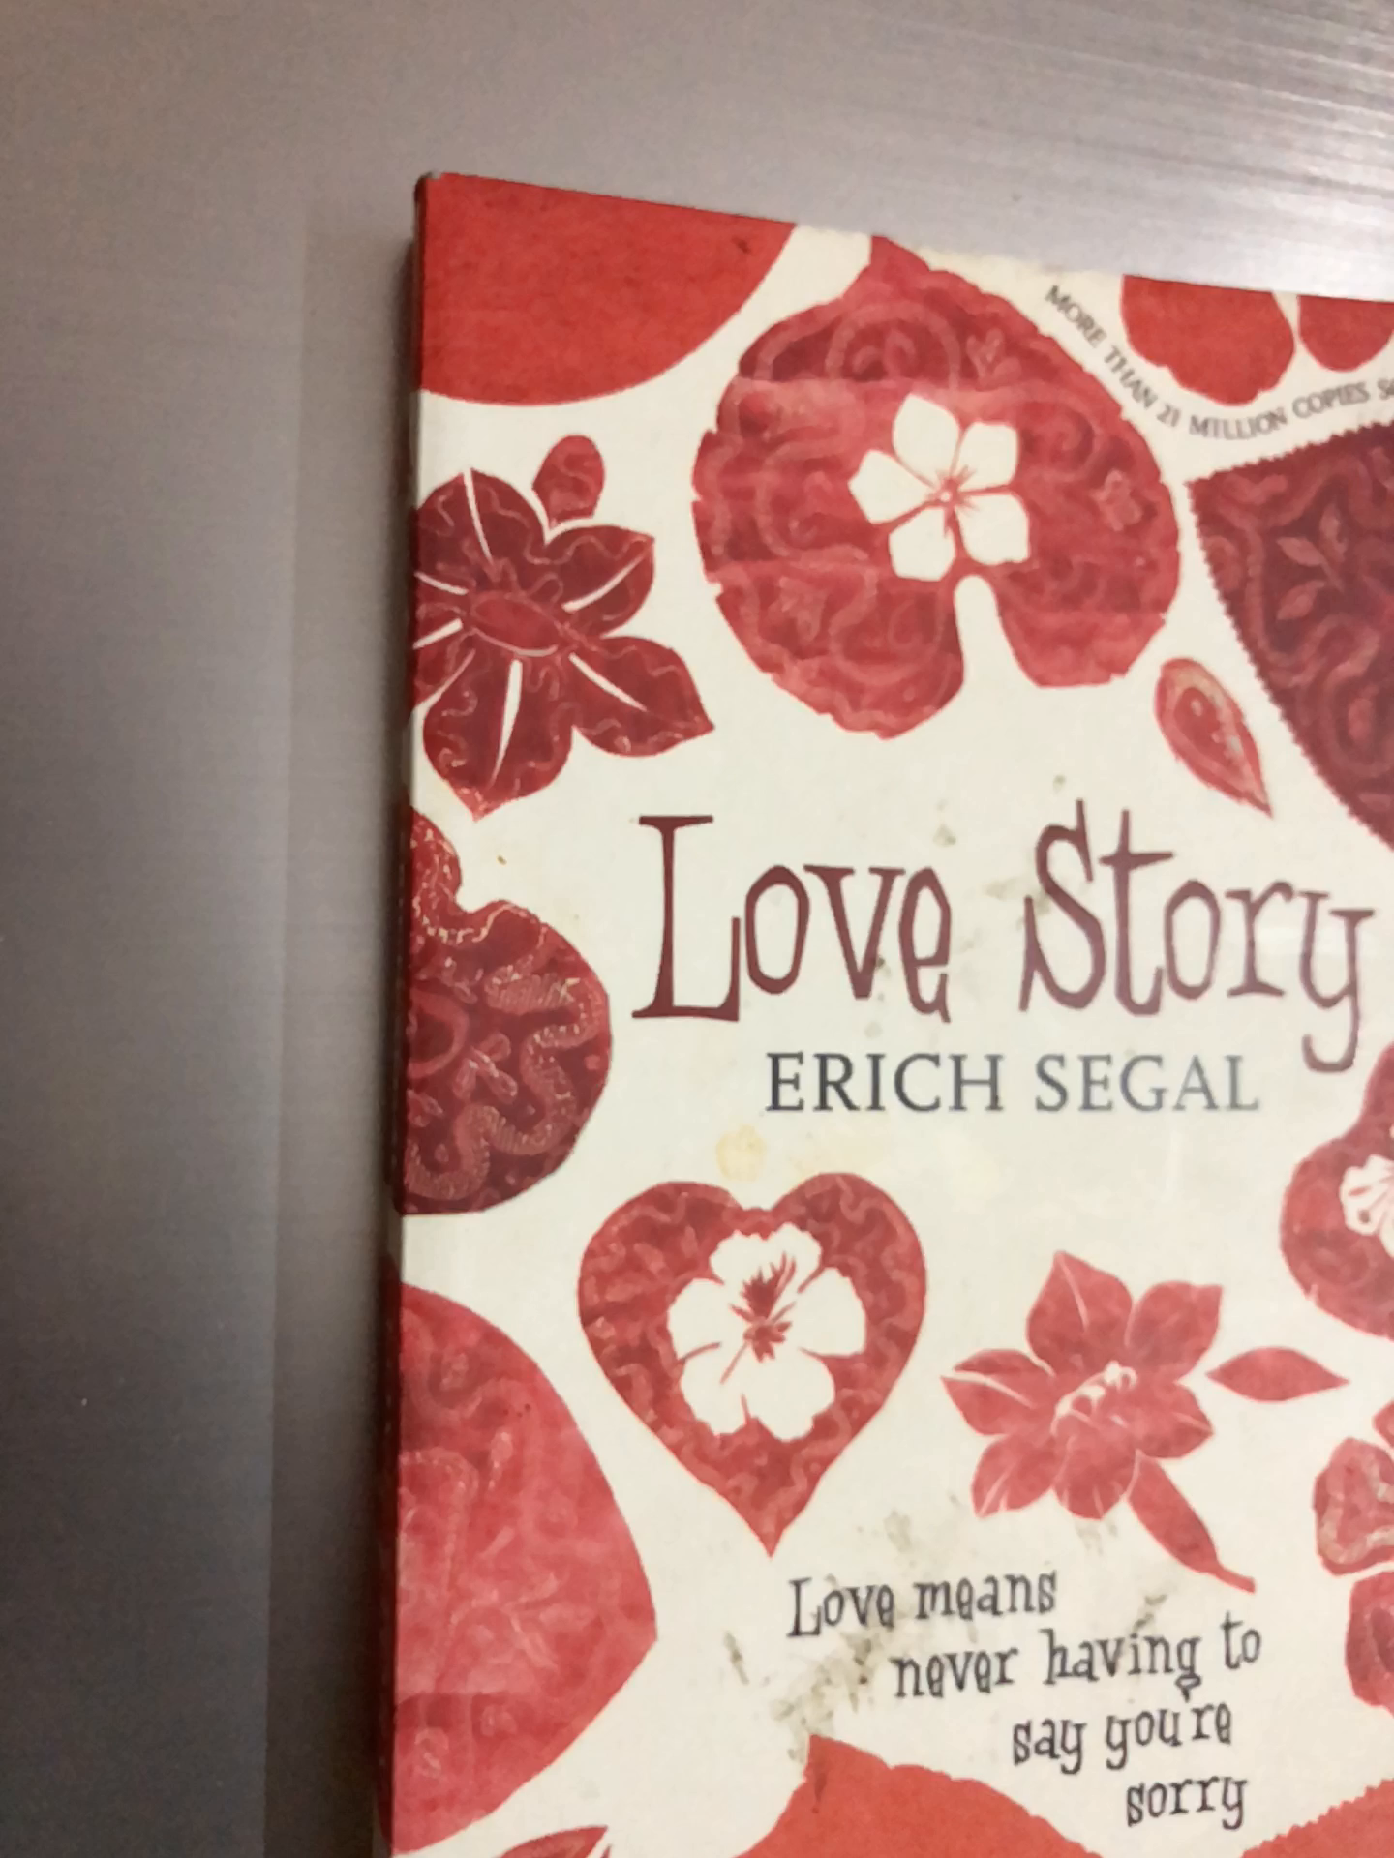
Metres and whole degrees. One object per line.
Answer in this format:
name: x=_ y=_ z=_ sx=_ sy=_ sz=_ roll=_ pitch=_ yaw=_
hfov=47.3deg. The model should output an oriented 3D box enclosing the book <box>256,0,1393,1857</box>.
book: x=0.021 y=0.014 z=0.156 sx=0.120 sy=0.030 sz=0.180 roll=1 pitch=86 yaw=-16
